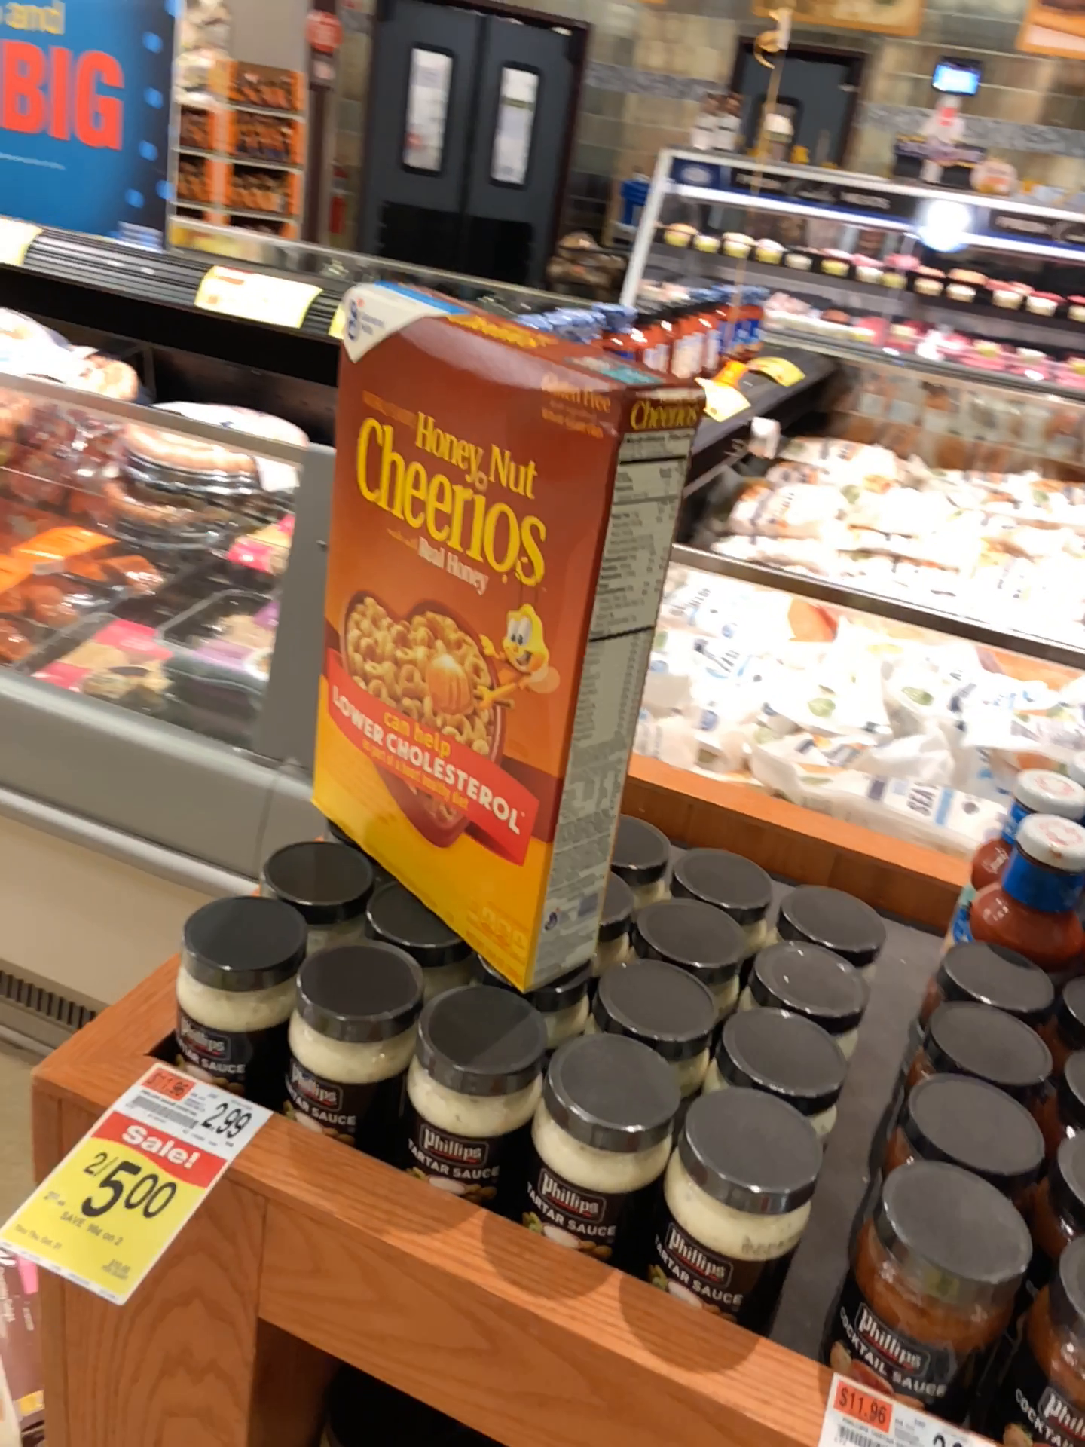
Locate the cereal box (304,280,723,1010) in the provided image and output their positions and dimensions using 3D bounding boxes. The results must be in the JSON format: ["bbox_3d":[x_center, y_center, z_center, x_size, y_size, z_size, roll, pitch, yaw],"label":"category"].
[{"bbox_3d":[-0.033,-0.043,0.571,0.050,0.288,0.201,-13,33,-39],"label":"cereal box"}]
